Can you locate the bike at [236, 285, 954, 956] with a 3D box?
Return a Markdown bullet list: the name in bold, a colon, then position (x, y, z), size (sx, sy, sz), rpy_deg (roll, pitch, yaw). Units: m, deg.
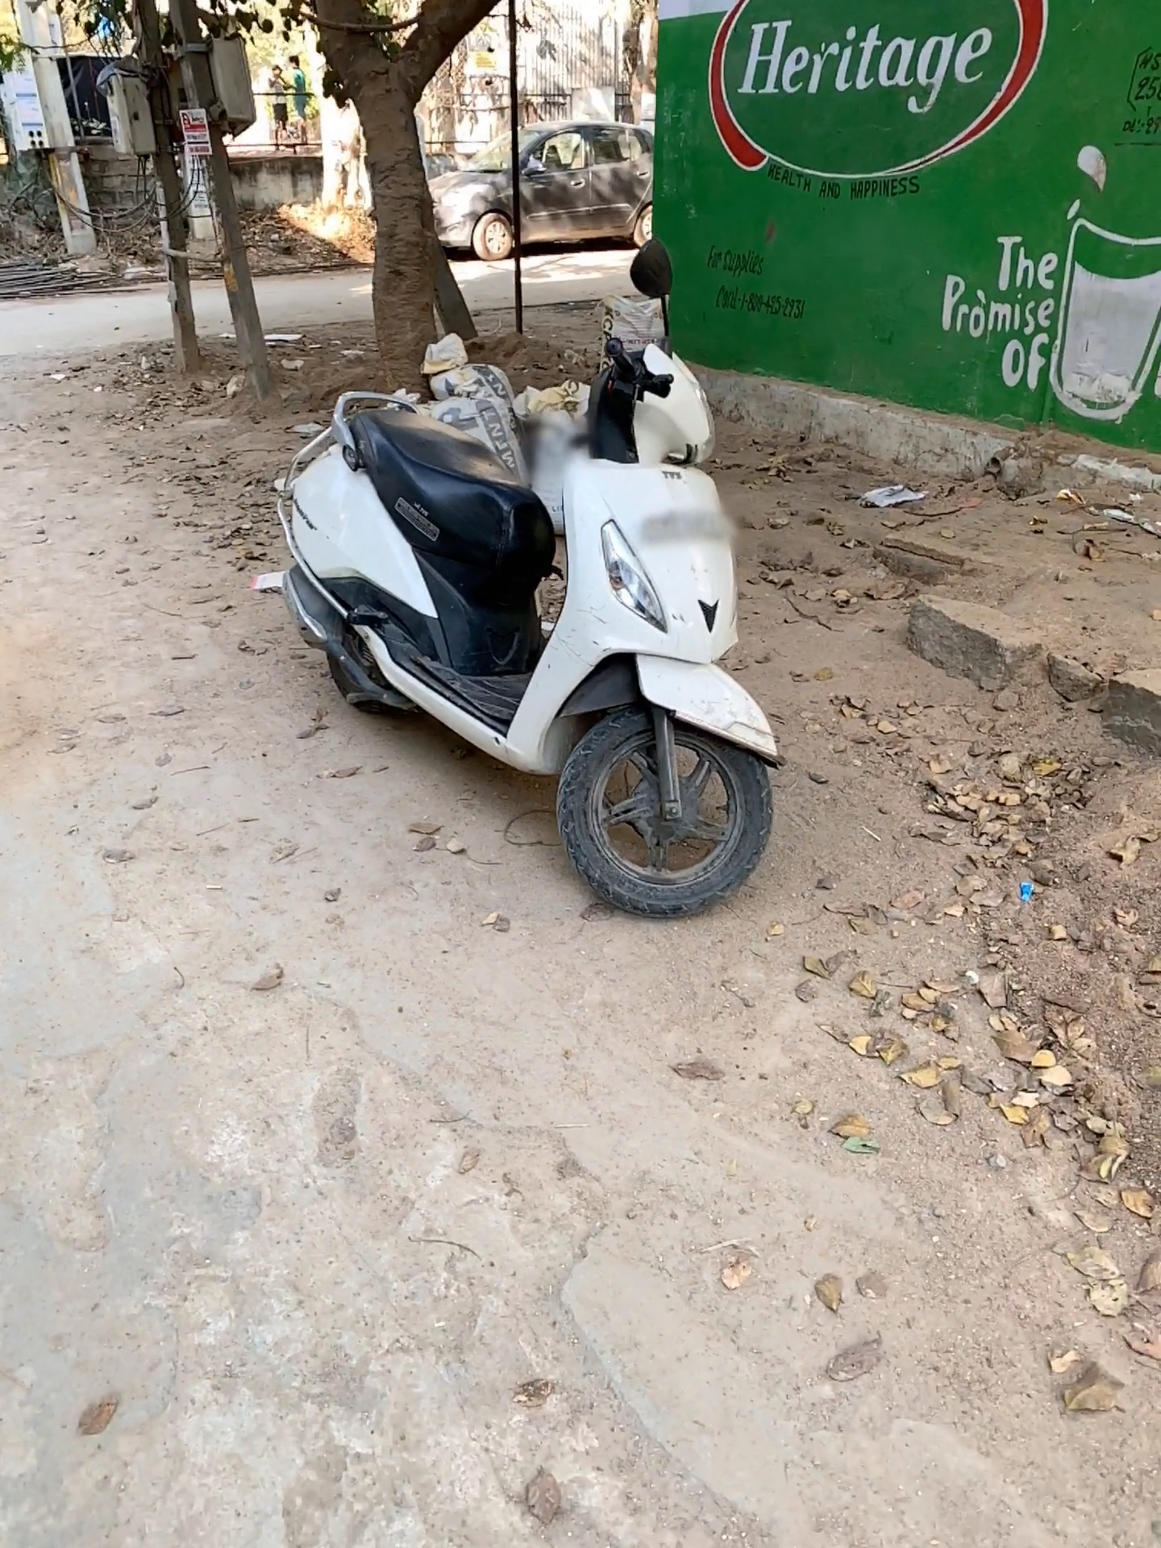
- **bike**: position (-0.035, -0.478, 2.801), size (1.463, 1.066, 0.687), rpy_deg (25, 37, 37)
